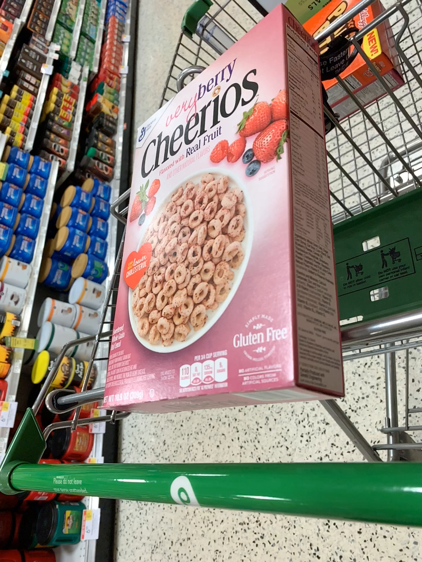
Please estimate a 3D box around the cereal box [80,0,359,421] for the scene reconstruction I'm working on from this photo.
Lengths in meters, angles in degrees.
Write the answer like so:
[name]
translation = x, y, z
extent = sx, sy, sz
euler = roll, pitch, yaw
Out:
[cereal box]
translation = -0.007, -0.041, 0.348
extent = 0.211, 0.060, 0.281
euler = -21, 58, 44
